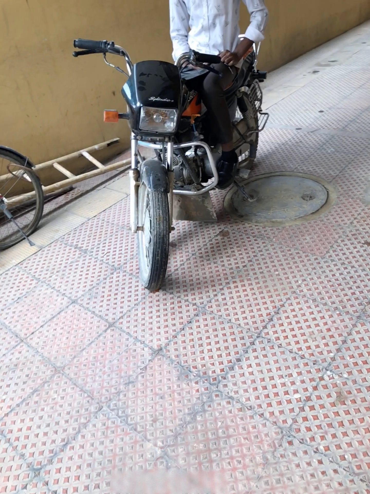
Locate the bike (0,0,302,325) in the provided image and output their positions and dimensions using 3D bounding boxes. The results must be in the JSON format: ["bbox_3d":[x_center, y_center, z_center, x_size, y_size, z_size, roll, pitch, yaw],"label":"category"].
[{"bbox_3d":[0.067,-0.612,2.122,0.759,0.974,1.607,7,40,24],"label":"bike"}]
